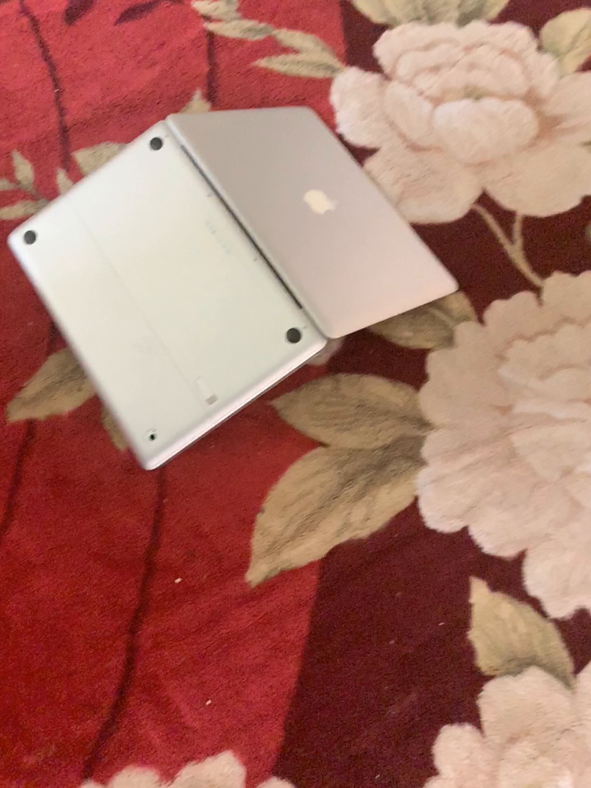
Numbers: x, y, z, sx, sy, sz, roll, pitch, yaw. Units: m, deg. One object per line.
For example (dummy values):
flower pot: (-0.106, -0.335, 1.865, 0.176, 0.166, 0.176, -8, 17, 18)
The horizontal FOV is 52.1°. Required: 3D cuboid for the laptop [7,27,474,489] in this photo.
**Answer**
laptop: (-0.078, -0.147, 0.665, 0.390, 0.078, 0.316, -35, 76, 2)
